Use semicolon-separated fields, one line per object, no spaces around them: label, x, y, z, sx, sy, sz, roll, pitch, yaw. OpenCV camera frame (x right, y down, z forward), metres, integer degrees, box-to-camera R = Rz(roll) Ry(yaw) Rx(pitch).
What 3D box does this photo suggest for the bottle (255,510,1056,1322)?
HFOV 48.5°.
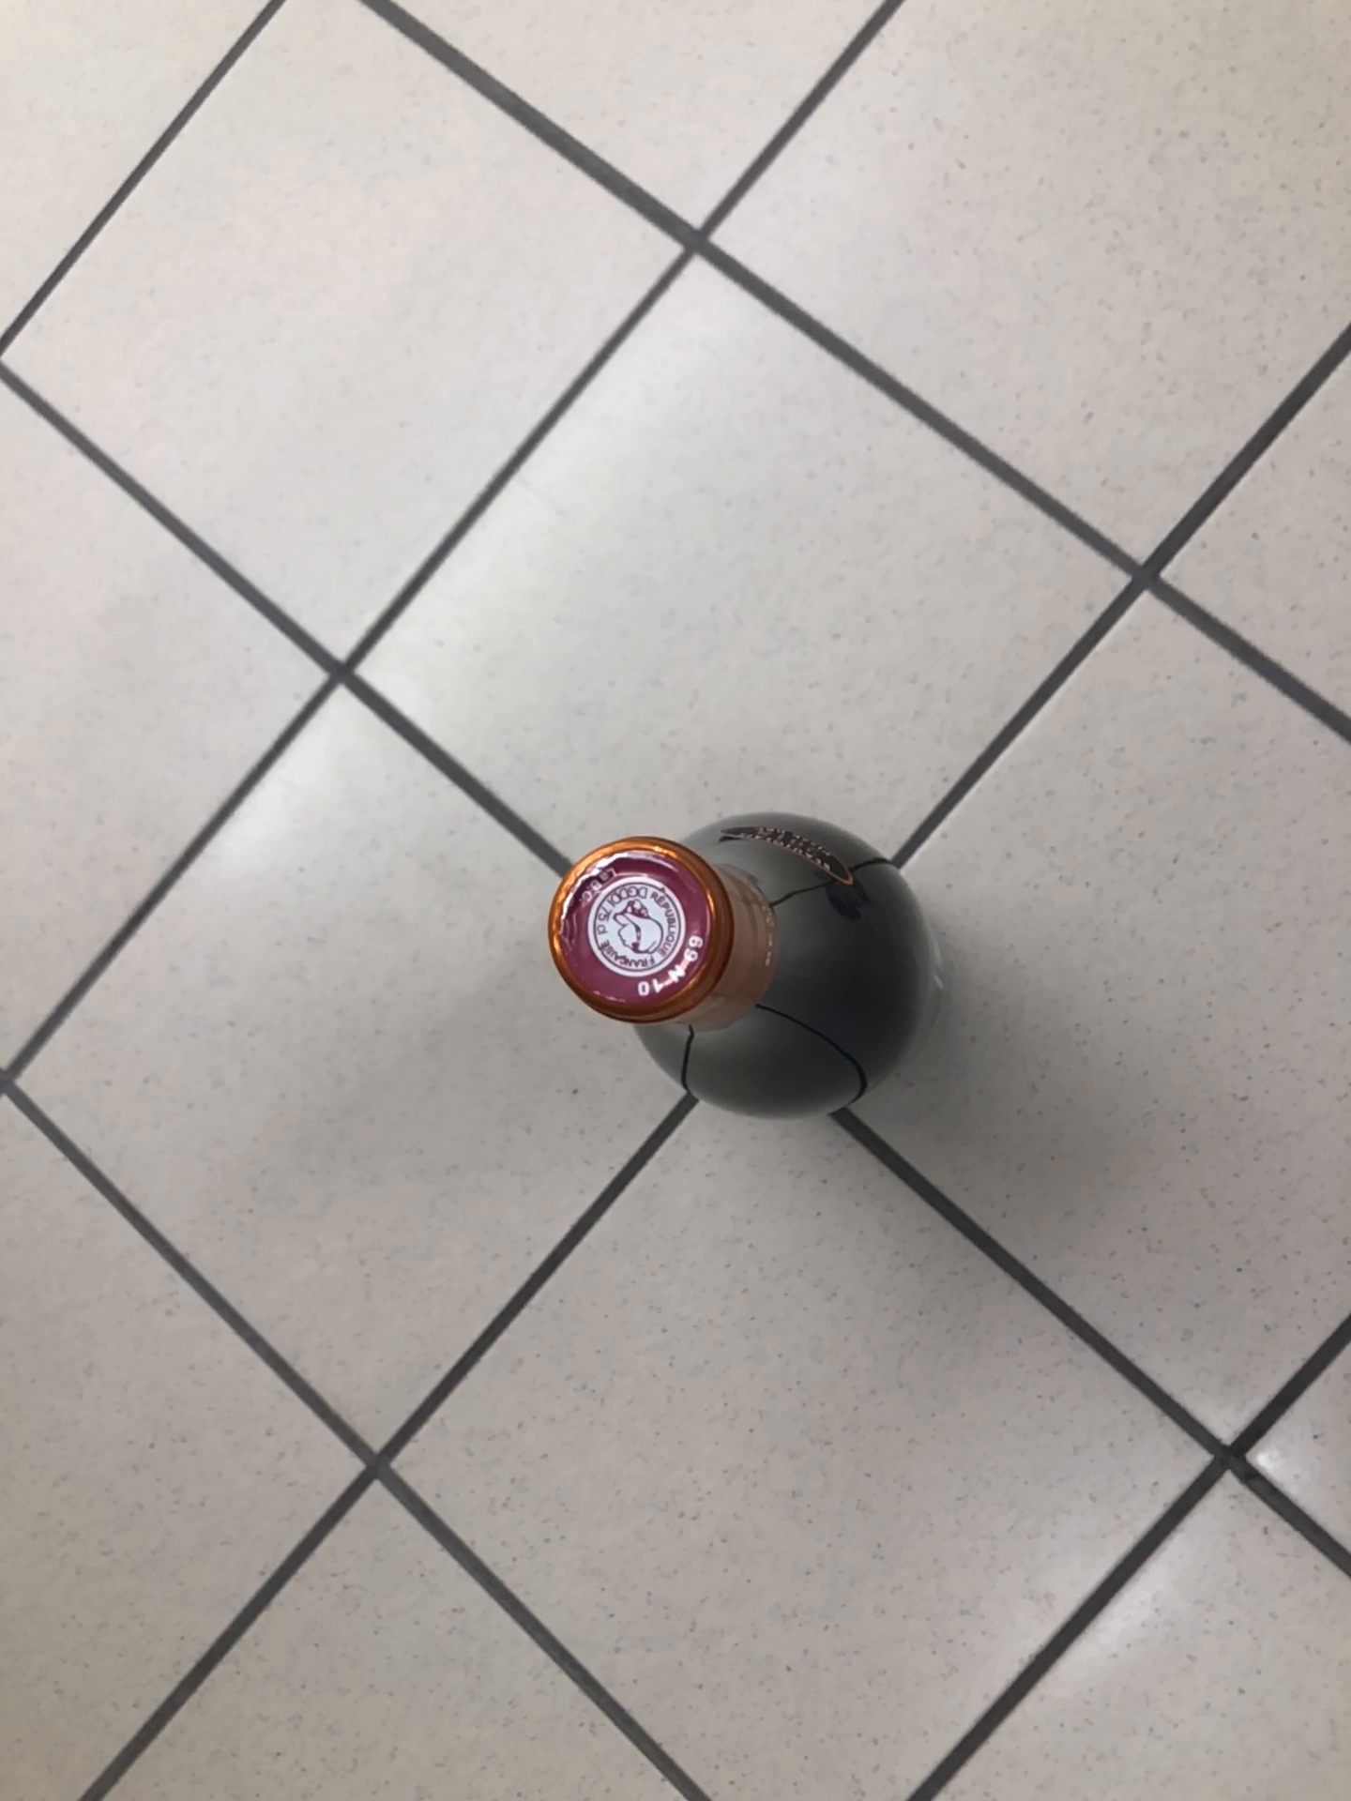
bottle;0.023;0.014;0.369;0.090;0.290;0.090;-1;84;11
